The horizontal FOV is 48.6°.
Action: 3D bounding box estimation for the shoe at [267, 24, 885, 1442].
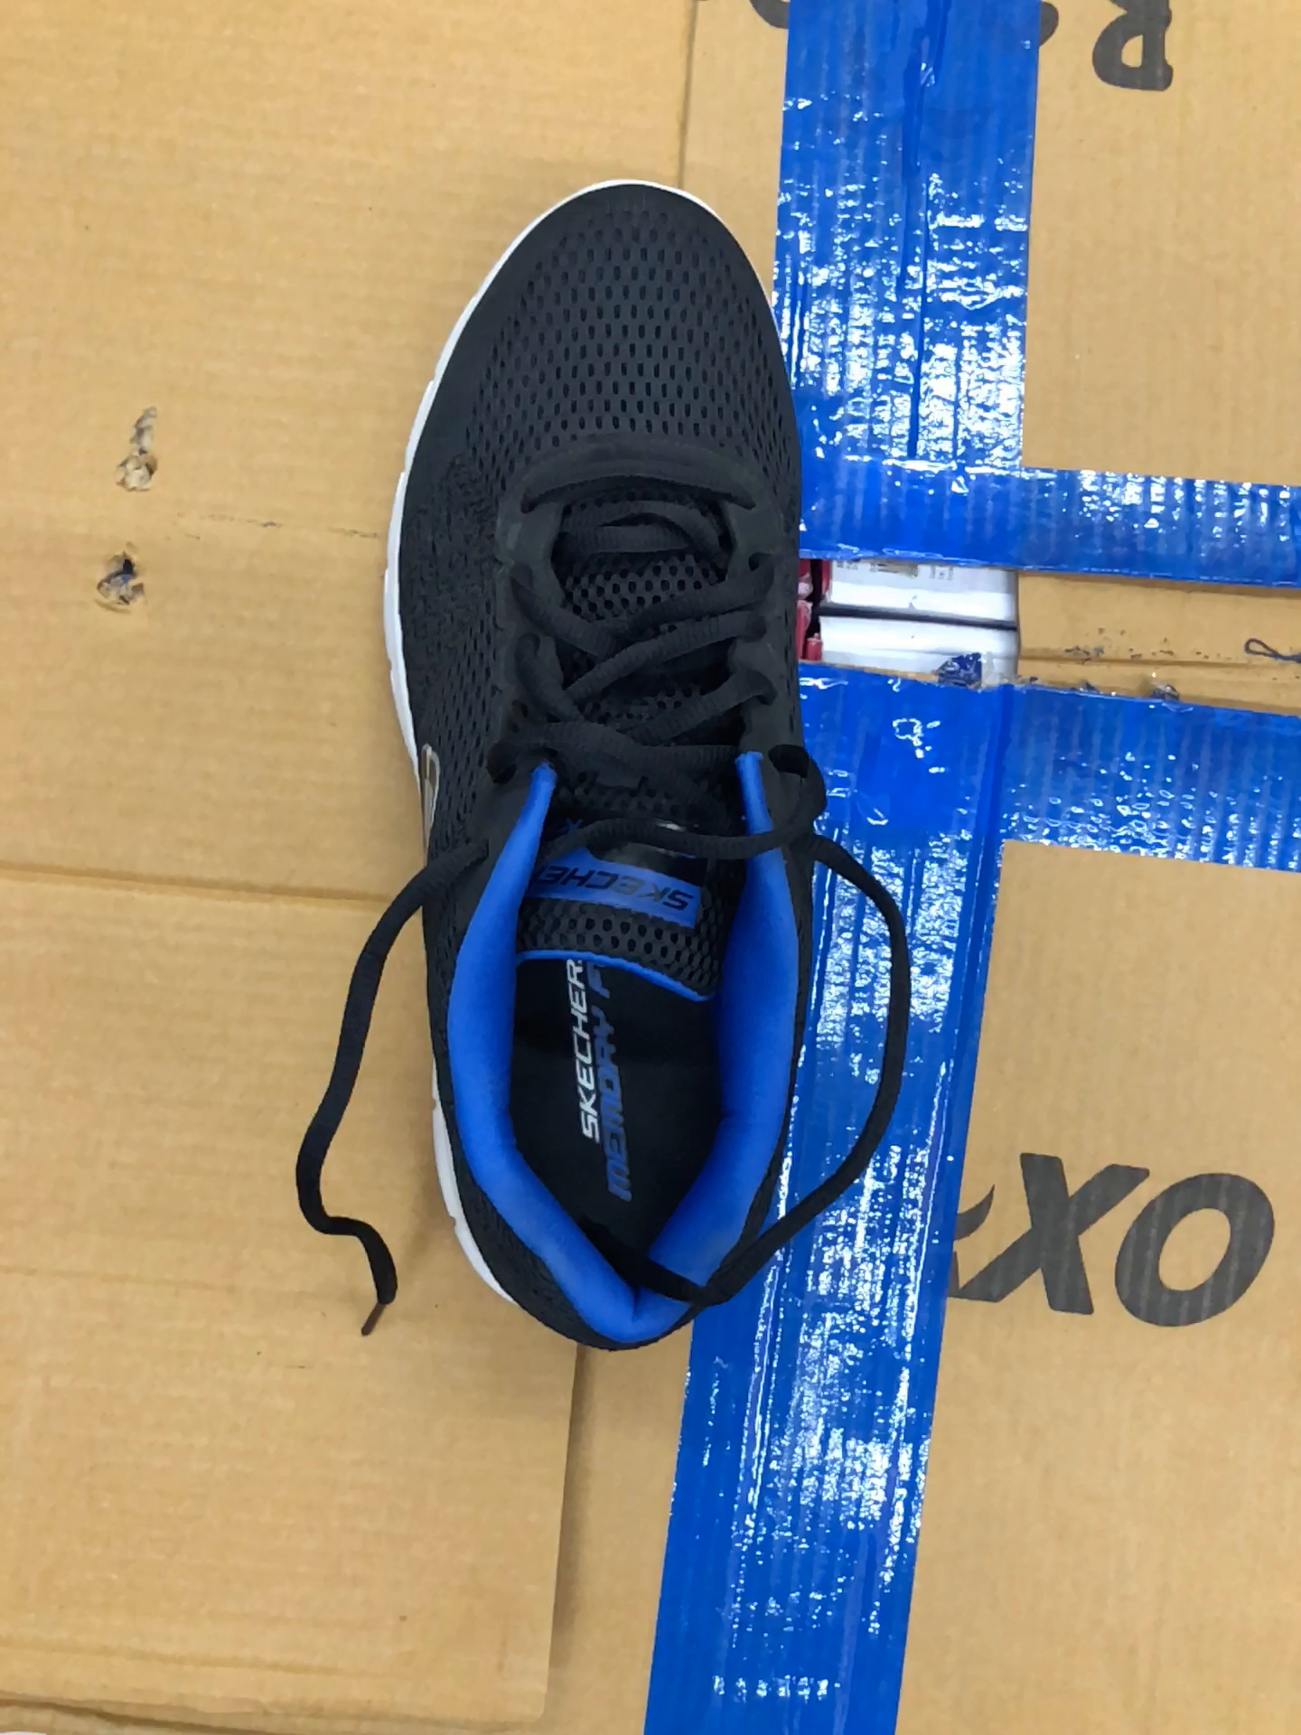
[{"bbox_3d":[-0.016,-0.026,0.339,0.114,0.106,0.278,2,89,-2],"label":"shoe"}]
